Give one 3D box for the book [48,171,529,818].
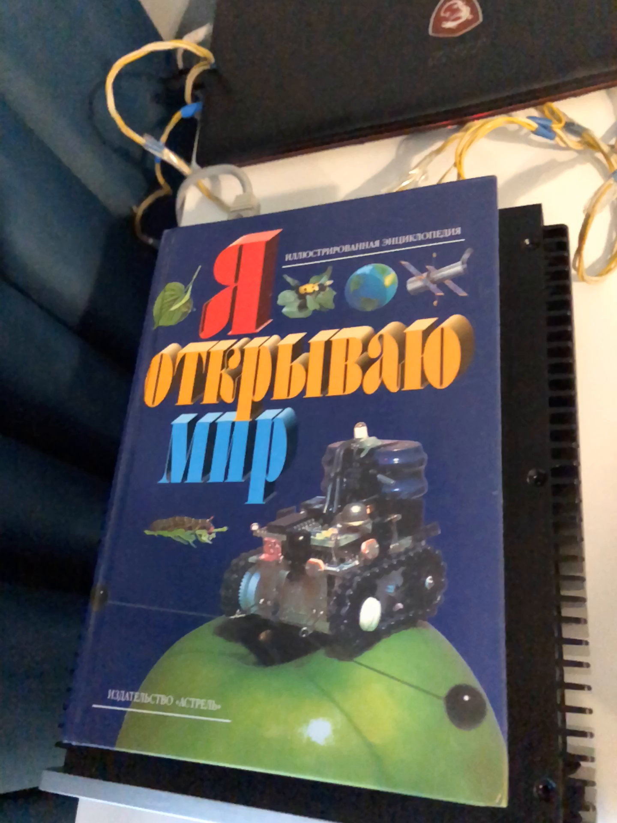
[{"bbox_3d":[-0.002,0.019,0.308,0.186,0.030,0.256,-3,66,21],"label":"book"}]
